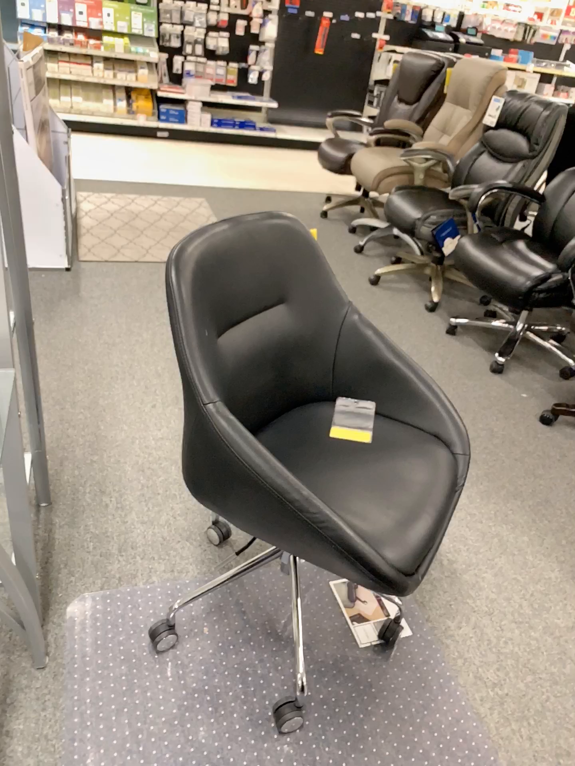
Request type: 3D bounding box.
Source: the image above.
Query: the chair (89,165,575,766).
[{"bbox_3d":[0.093,0.129,1.211,0.621,0.885,0.673,22,35,19],"label":"chair"}]
